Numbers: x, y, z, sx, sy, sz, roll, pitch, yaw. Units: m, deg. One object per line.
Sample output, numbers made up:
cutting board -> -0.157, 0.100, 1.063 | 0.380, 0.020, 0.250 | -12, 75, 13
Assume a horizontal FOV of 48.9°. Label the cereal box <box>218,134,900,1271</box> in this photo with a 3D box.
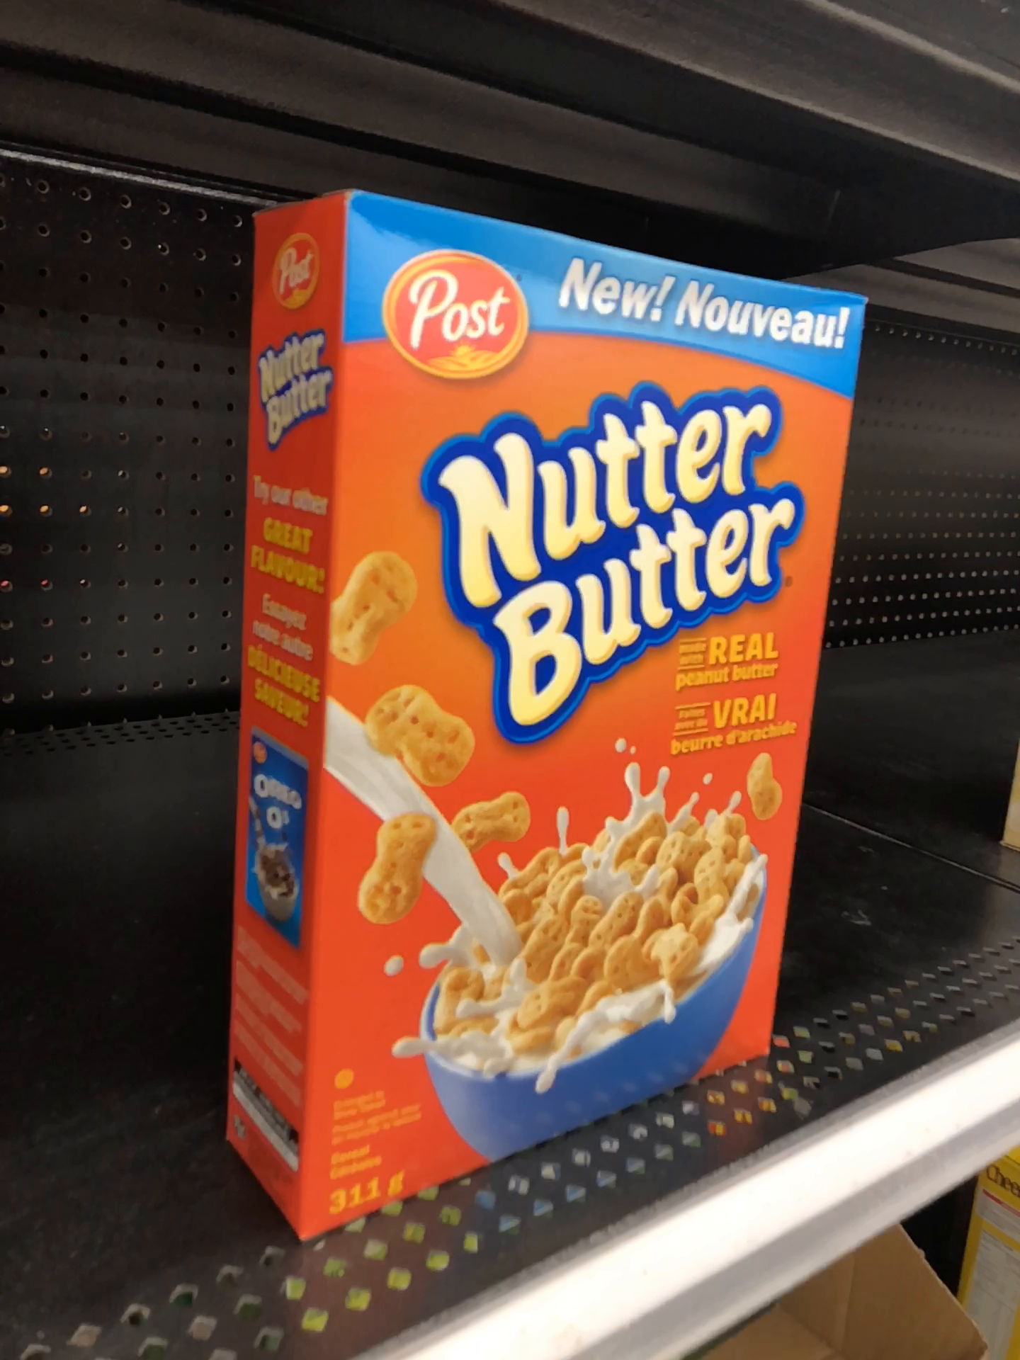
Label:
cereal box -> 0.015, 0.006, 0.345 | 0.190, 0.279, 0.060 | -5, 16, -36
